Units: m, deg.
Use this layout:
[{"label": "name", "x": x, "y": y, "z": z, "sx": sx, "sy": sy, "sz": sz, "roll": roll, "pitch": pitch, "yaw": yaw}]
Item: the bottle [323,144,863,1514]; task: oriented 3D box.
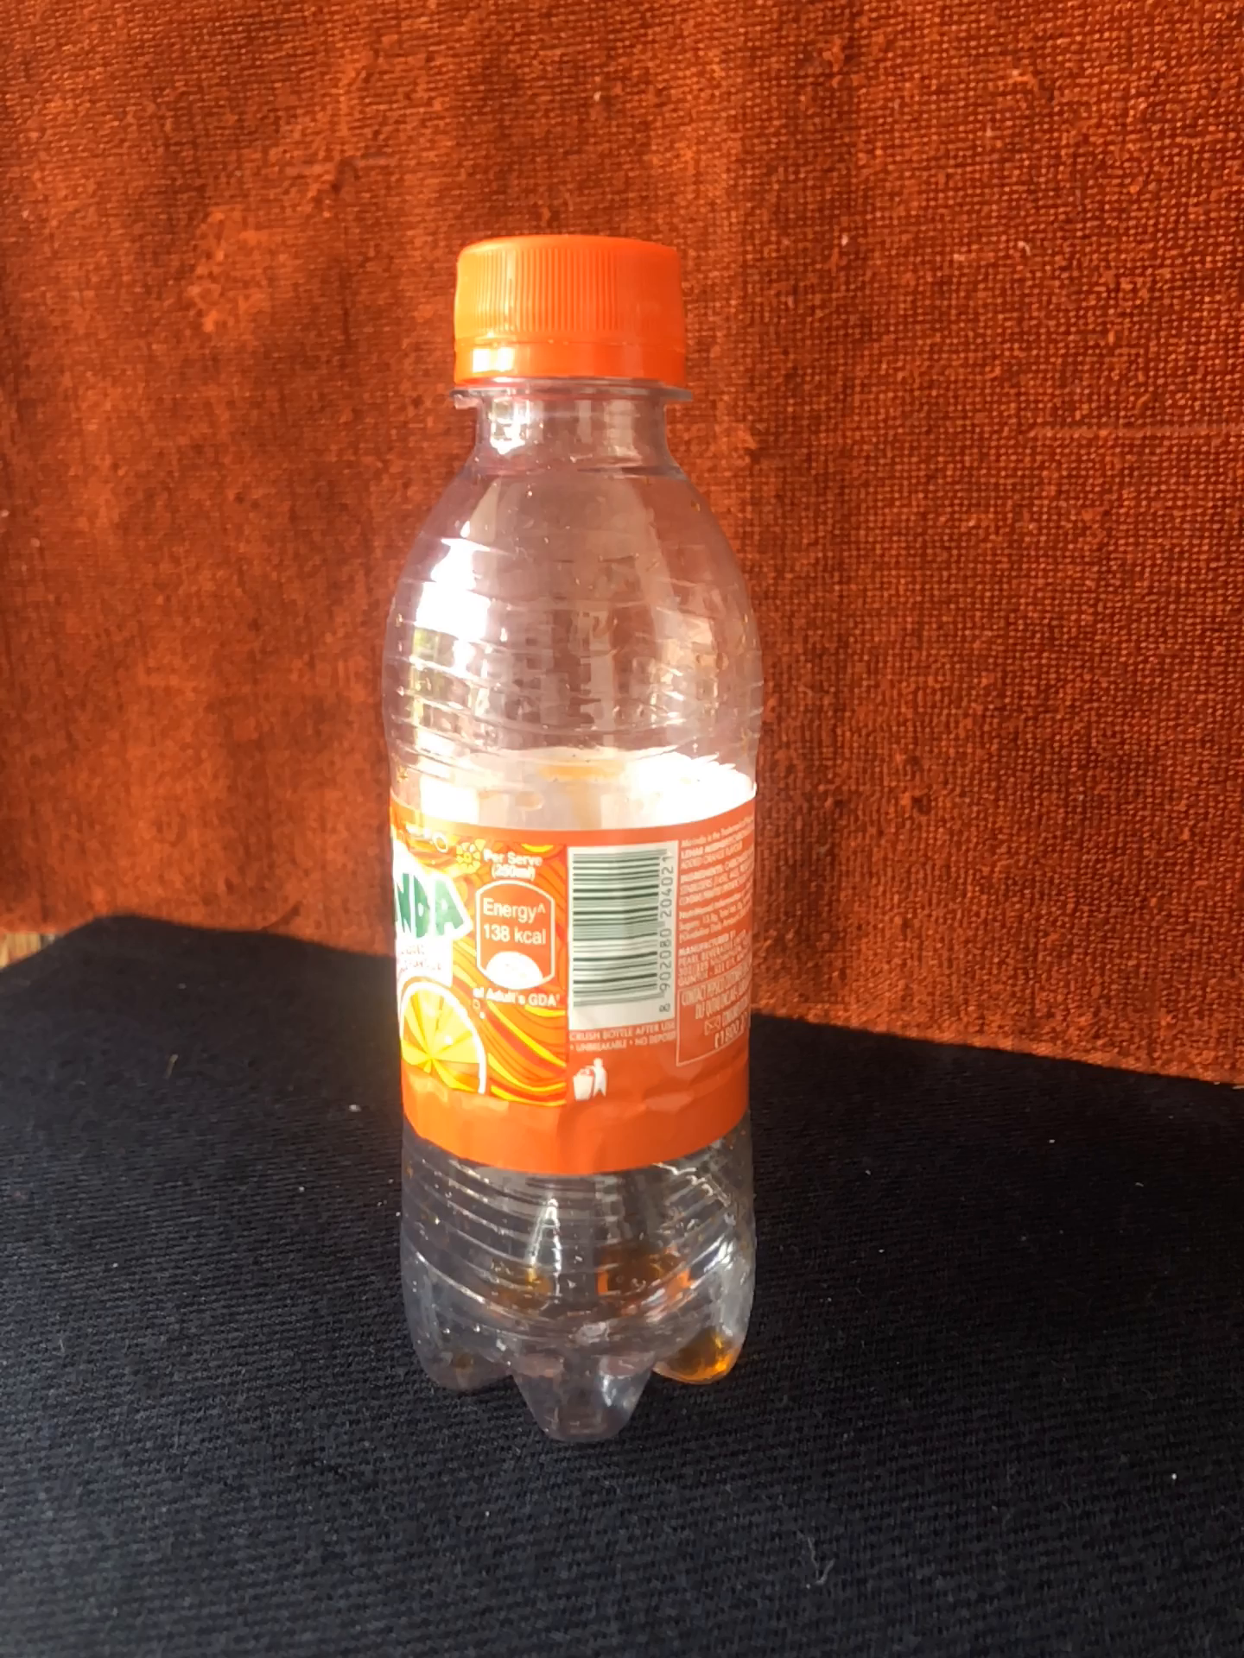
[{"label": "bottle", "x": -0.008, "y": 0.001, "z": 0.189, "sx": 0.050, "sy": 0.159, "sz": 0.060, "roll": -5, "pitch": 18, "yaw": -16}]
